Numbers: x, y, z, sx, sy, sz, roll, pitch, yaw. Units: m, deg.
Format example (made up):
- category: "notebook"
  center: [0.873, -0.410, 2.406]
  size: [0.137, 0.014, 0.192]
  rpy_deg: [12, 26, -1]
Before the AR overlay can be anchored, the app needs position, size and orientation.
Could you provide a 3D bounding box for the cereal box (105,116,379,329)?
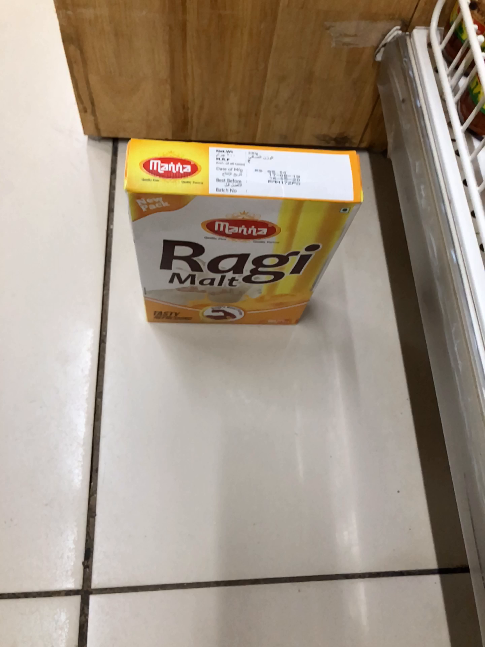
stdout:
- category: "cereal box"
  center: [-0.006, -0.053, 0.365]
  size: [0.140, 0.179, 0.040]
  rpy_deg: [2, 65, -4]
